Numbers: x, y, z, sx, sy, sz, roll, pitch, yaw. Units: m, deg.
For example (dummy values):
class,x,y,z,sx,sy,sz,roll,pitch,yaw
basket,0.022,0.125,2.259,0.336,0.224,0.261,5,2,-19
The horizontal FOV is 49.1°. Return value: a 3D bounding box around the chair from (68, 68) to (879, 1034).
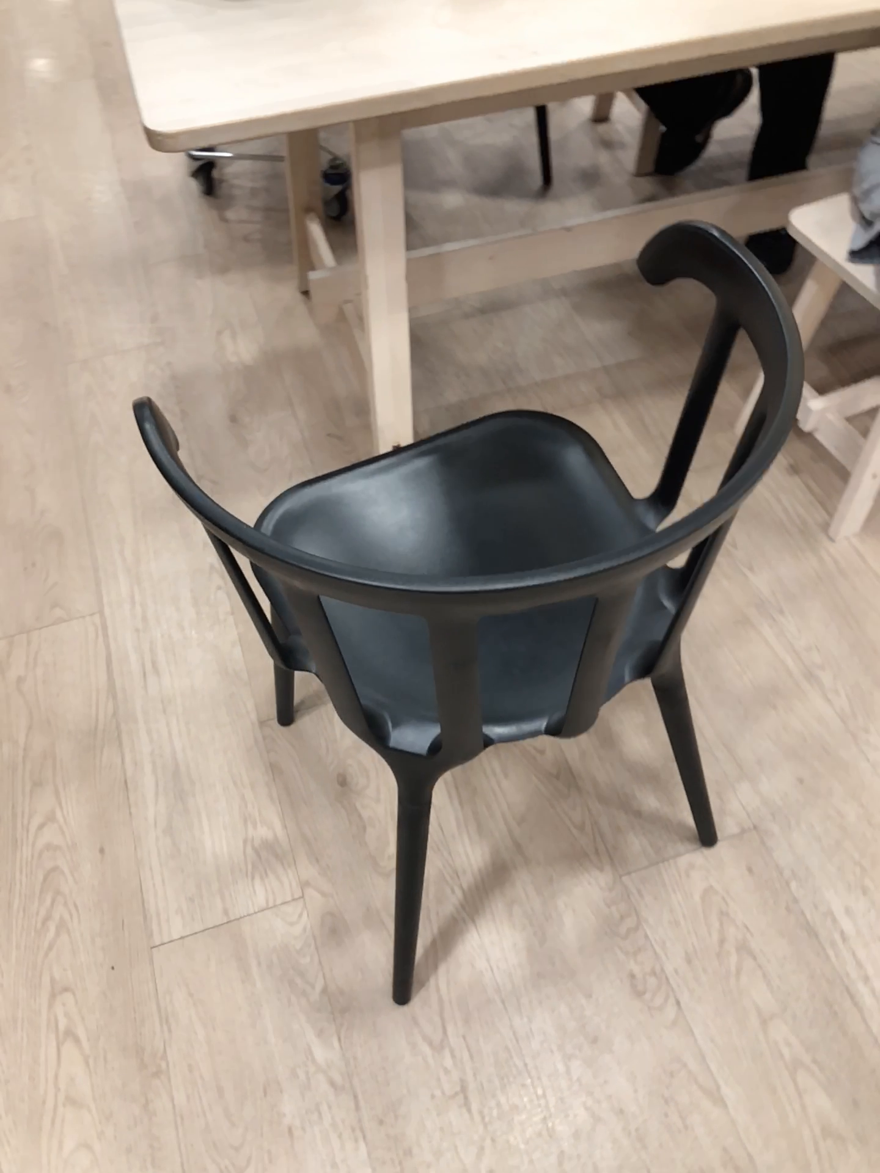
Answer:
class,x,y,z,sx,sy,sz,roll,pitch,yaw
chair,0.055,-0.005,0.985,0.530,0.686,0.533,-22,55,-14
